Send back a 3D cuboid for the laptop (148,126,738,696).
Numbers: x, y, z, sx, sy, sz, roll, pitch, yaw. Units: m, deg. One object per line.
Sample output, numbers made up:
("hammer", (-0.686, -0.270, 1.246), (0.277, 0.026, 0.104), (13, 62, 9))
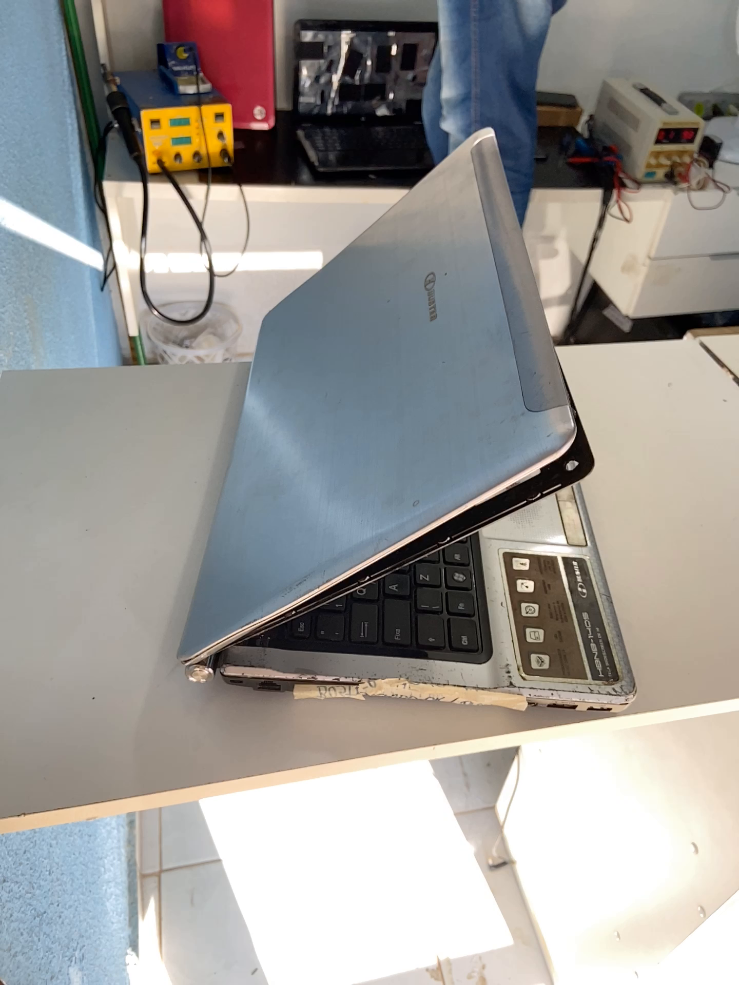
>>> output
("laptop", (0.032, -0.072, 0.462), (0.232, 0.160, 0.328), (4, 43, -3))
